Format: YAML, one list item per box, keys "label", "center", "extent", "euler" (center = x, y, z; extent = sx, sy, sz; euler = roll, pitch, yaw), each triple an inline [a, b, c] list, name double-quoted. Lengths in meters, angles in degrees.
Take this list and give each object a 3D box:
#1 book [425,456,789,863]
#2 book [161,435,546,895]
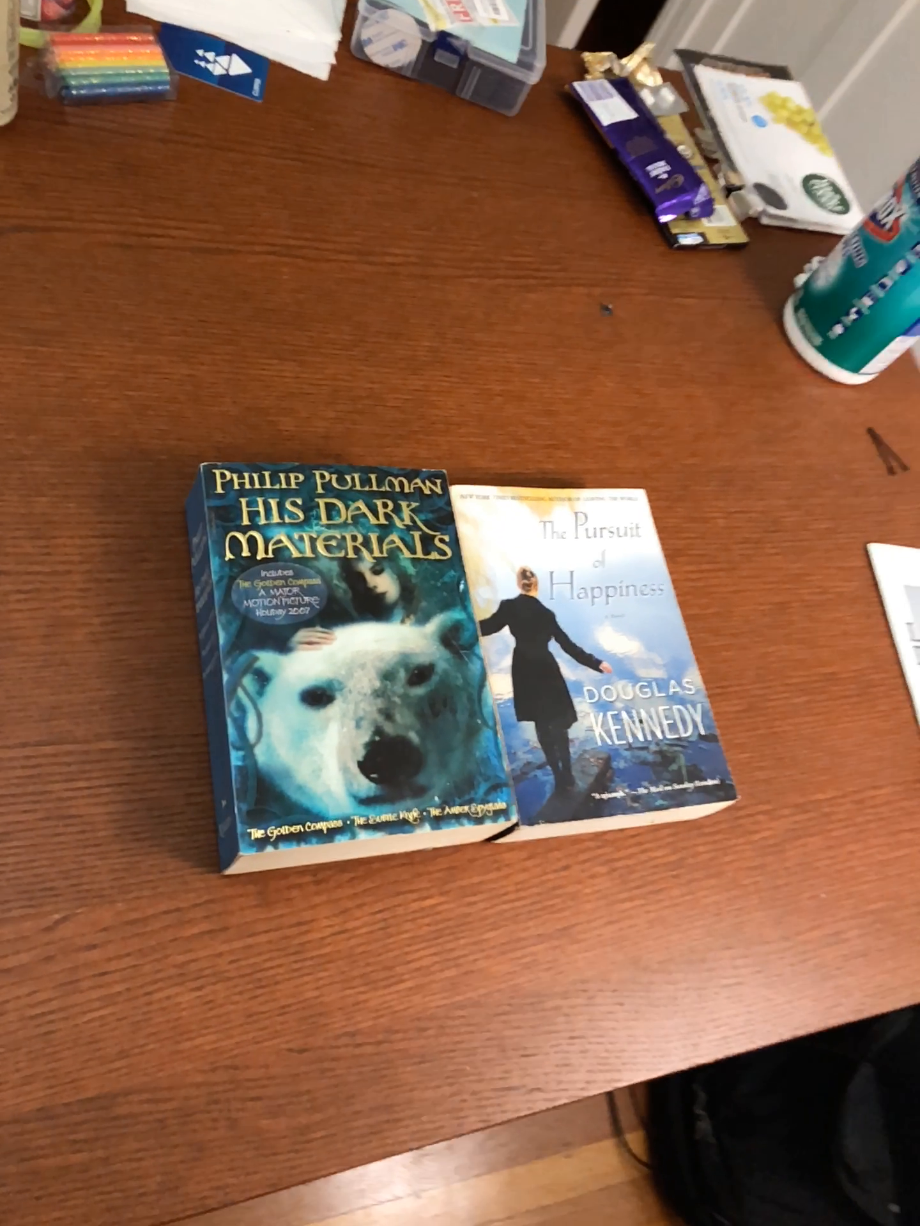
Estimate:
- label: "book"
  center: [0.090, 0.020, 0.649]
  extent: [0.180, 0.040, 0.251]
  euler: [-1, 65, -24]
- label: "book"
  center: [-0.068, 0.020, 0.586]
  extent: [0.180, 0.050, 0.251]
  euler: [-1, 65, -24]
